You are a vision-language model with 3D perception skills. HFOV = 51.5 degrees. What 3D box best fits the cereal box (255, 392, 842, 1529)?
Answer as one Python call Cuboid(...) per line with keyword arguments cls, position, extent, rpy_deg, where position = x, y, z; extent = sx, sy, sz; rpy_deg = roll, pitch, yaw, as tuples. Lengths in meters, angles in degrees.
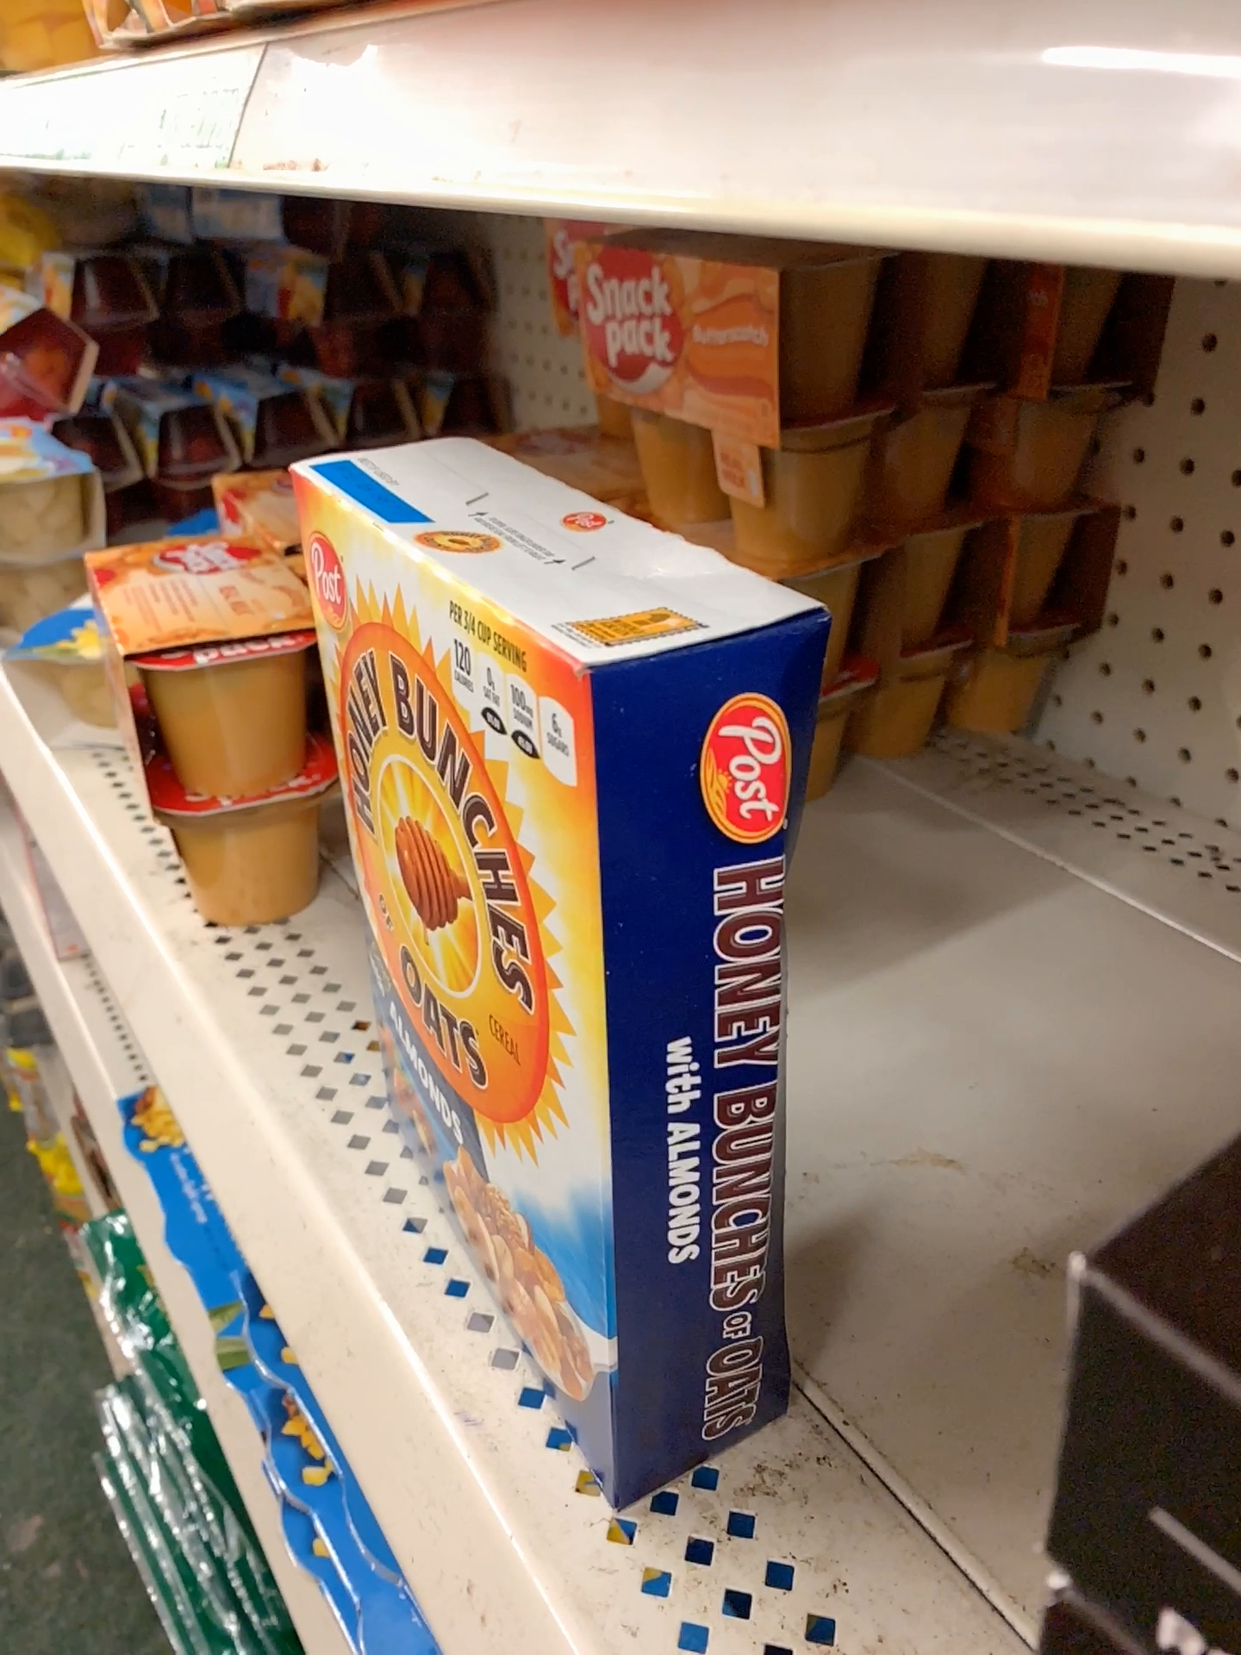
Cuboid(cls="cereal box", position=(-0.022, 0.018, 0.279), extent=(0.050, 0.189, 0.151), rpy_deg=(-15, 31, -23))
